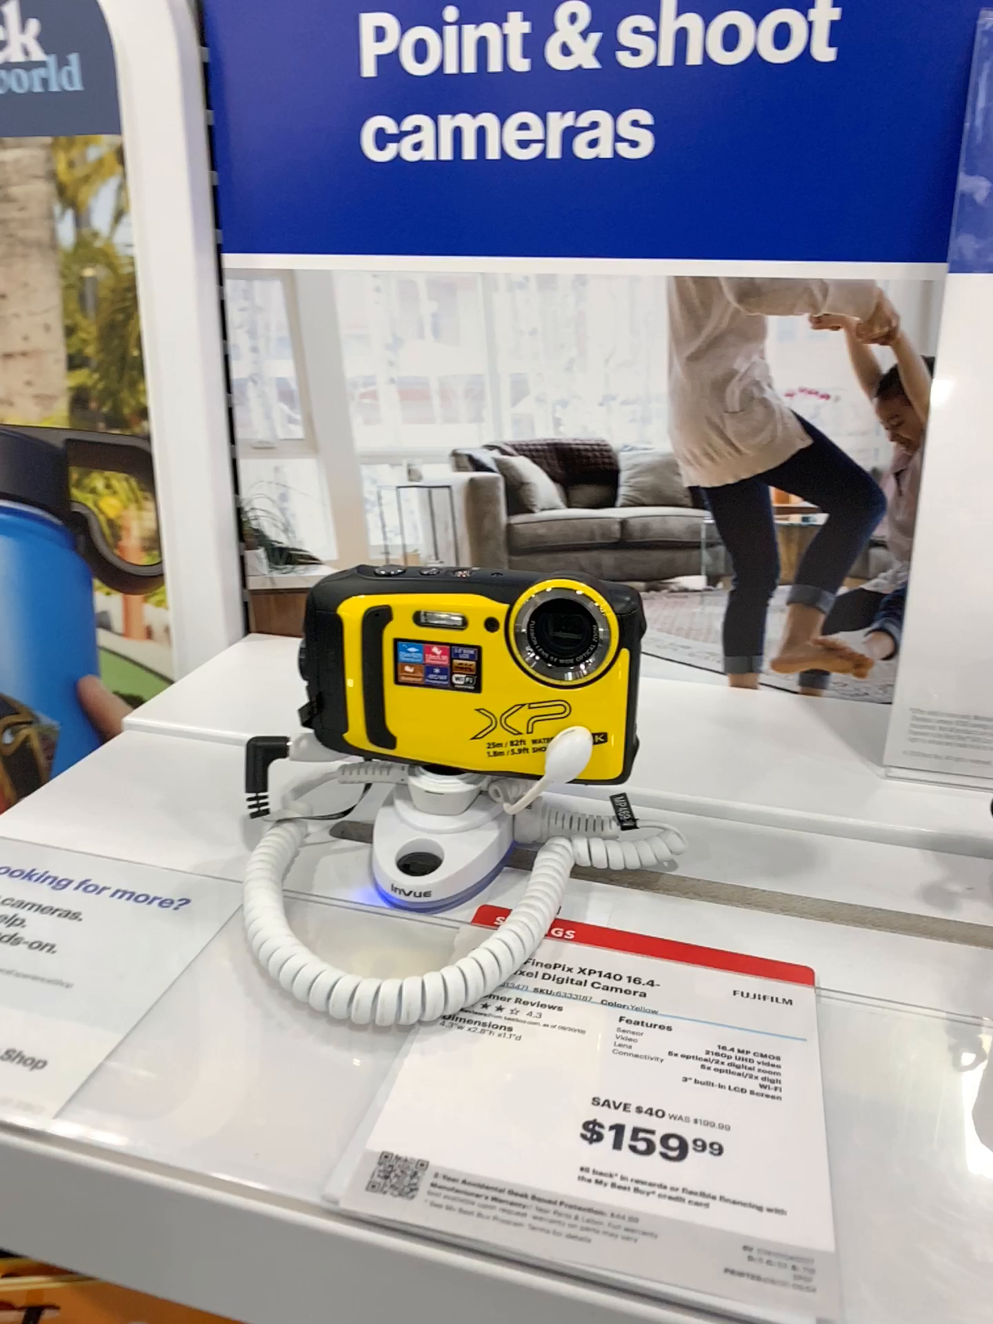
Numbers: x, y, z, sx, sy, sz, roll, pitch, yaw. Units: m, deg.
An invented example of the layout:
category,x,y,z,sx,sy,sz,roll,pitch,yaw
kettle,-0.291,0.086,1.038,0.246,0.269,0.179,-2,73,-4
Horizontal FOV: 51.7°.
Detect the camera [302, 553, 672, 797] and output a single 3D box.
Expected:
category,x,y,z,sx,sy,sz,roll,pitch,yaw
camera,-0.003,0.002,0.326,0.110,0.060,0.030,6,20,13
